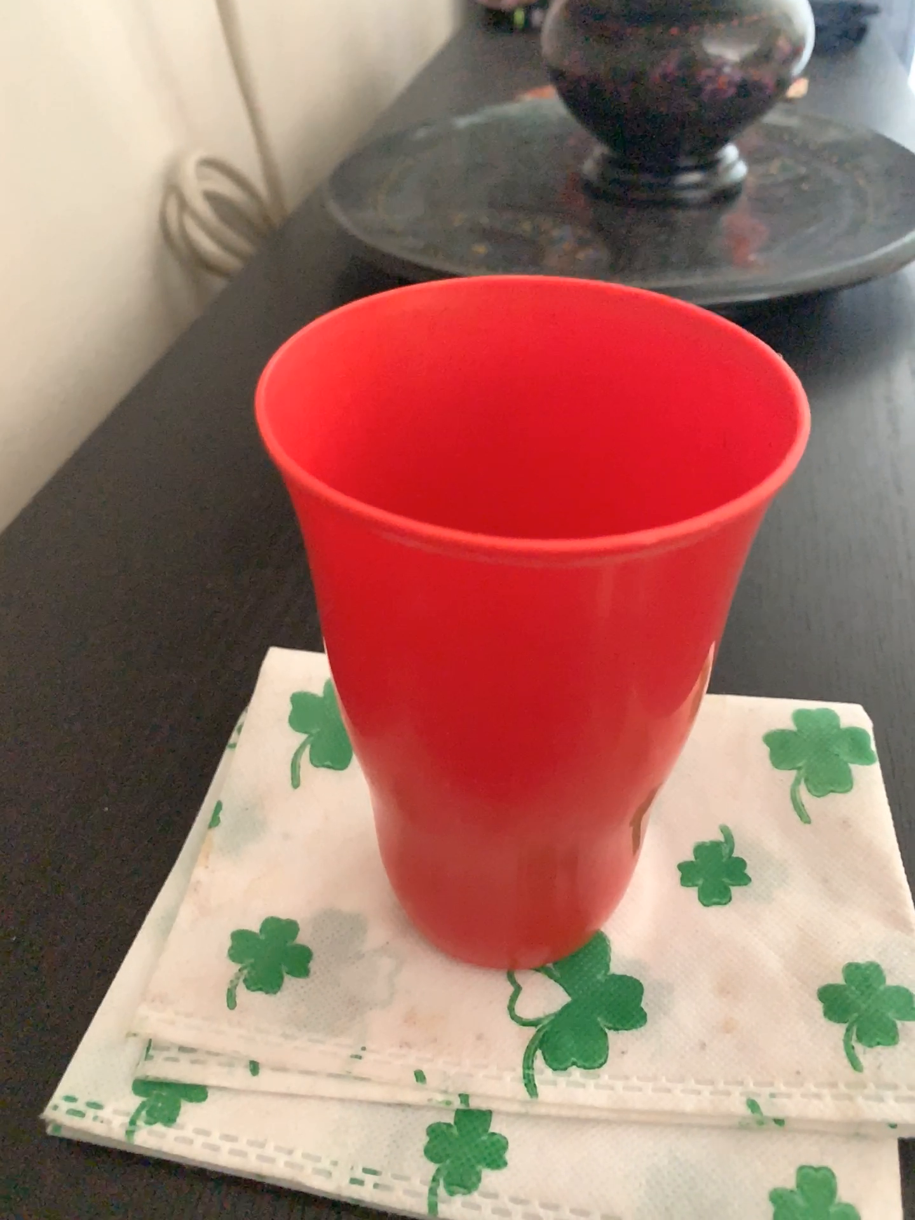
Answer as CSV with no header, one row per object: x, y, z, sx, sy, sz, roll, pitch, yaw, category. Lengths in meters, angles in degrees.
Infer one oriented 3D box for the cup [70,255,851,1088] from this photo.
0.007,0.005,0.160,0.082,0.091,0.080,-1,39,1,cup
